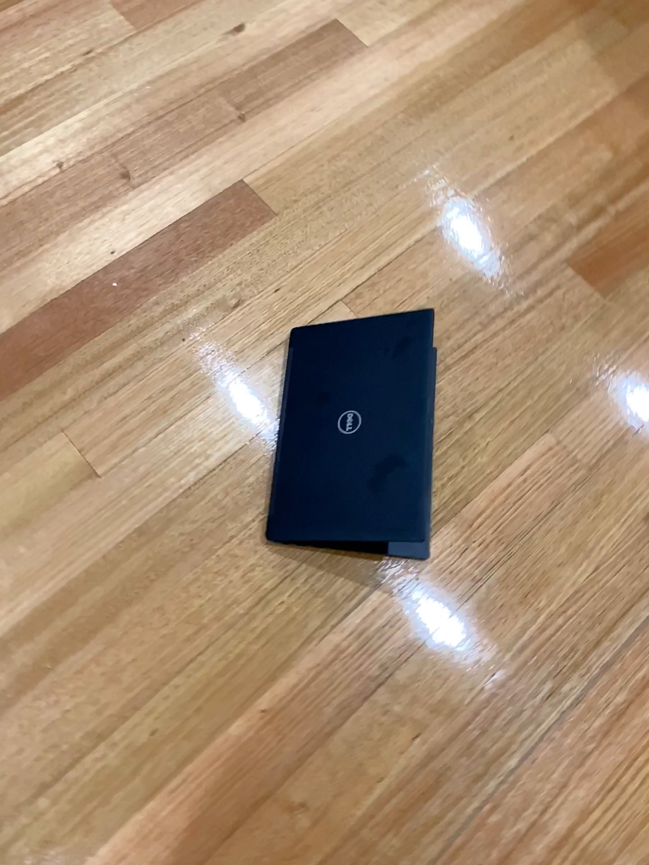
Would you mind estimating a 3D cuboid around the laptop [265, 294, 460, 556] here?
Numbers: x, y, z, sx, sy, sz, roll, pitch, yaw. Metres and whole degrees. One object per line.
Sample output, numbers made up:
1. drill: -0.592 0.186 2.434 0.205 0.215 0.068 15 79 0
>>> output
1. laptop: 0.048 -0.010 0.833 0.206 0.110 0.297 6 69 0
